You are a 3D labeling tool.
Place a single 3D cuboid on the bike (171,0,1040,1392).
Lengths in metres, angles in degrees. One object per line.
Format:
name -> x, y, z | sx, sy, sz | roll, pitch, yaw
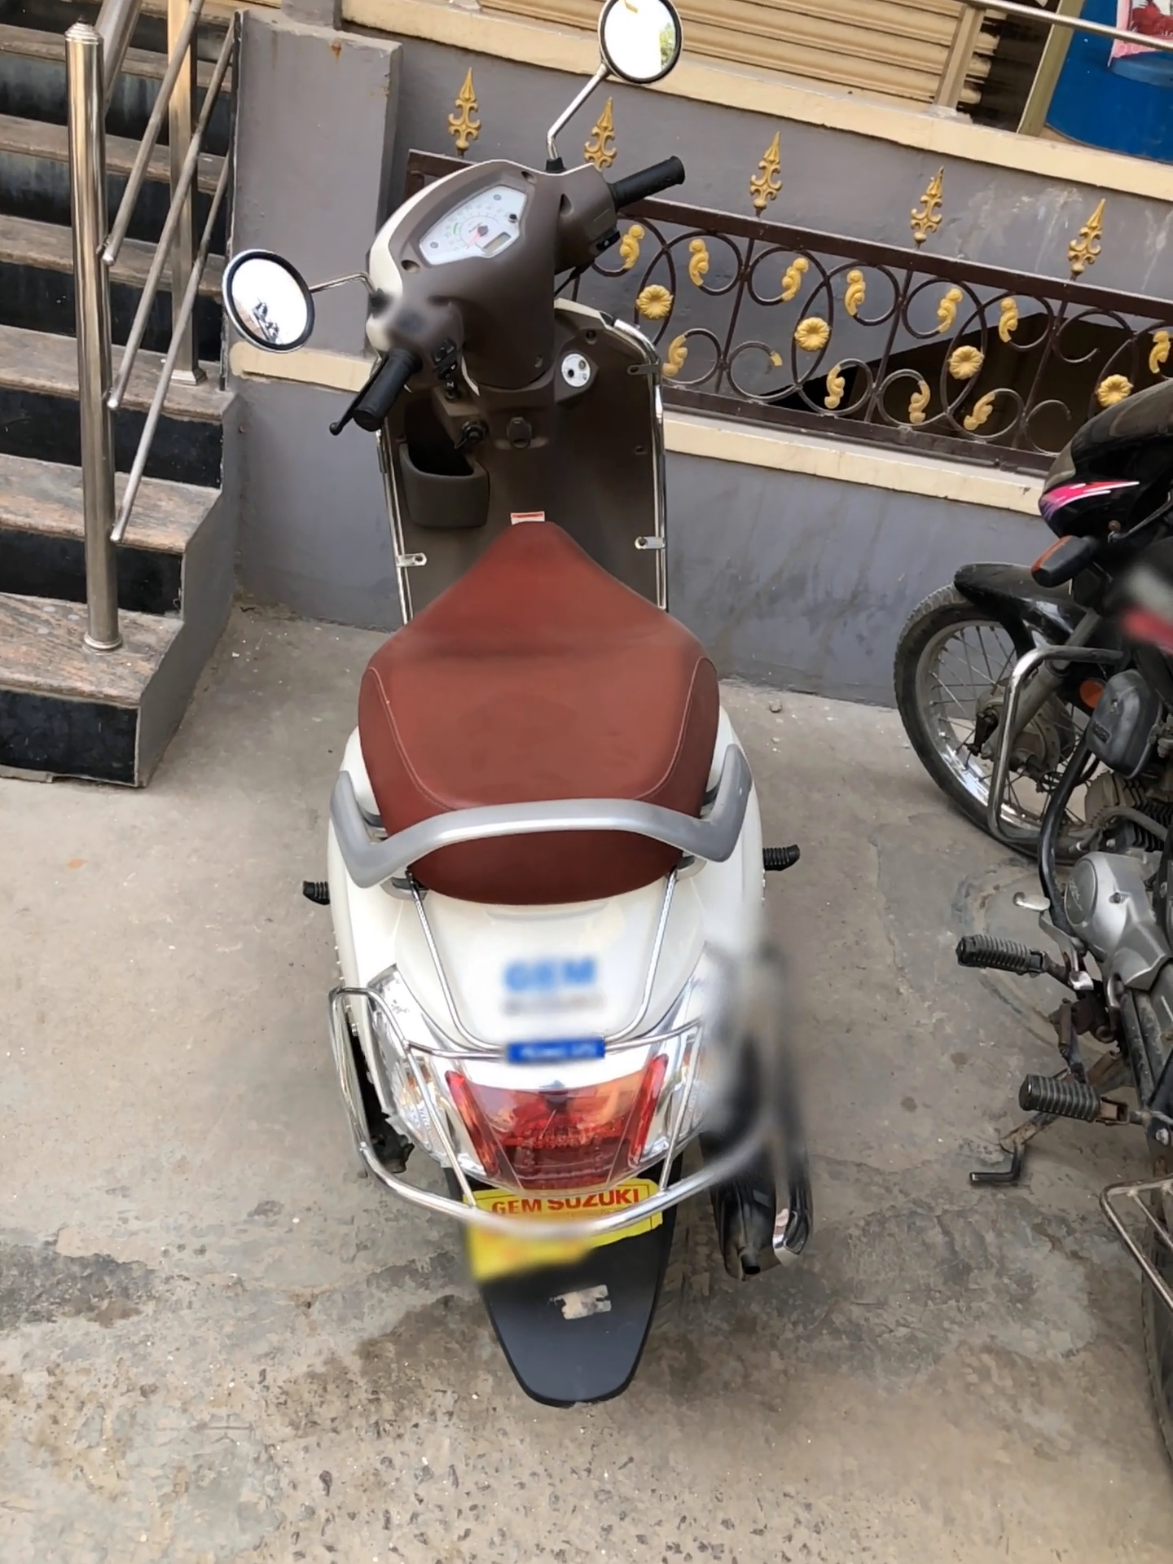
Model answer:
bike -> -0.167, -0.253, 1.769 | 0.597, 1.194, 1.494 | 4, 35, -13
